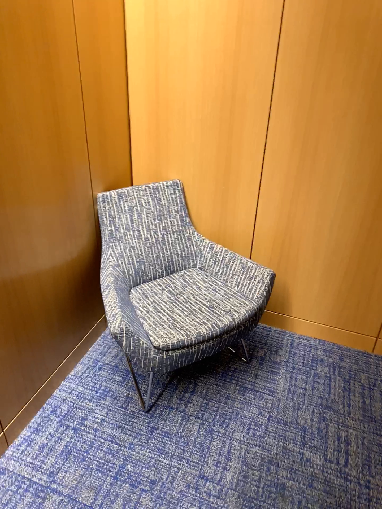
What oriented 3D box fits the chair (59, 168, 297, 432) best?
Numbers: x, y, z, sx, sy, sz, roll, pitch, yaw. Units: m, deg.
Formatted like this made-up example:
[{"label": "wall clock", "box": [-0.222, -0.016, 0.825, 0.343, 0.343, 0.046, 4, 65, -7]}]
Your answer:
[{"label": "chair", "box": [-0.076, 0.130, 1.694, 0.701, 0.746, 0.616, -17, 36, -30]}]
